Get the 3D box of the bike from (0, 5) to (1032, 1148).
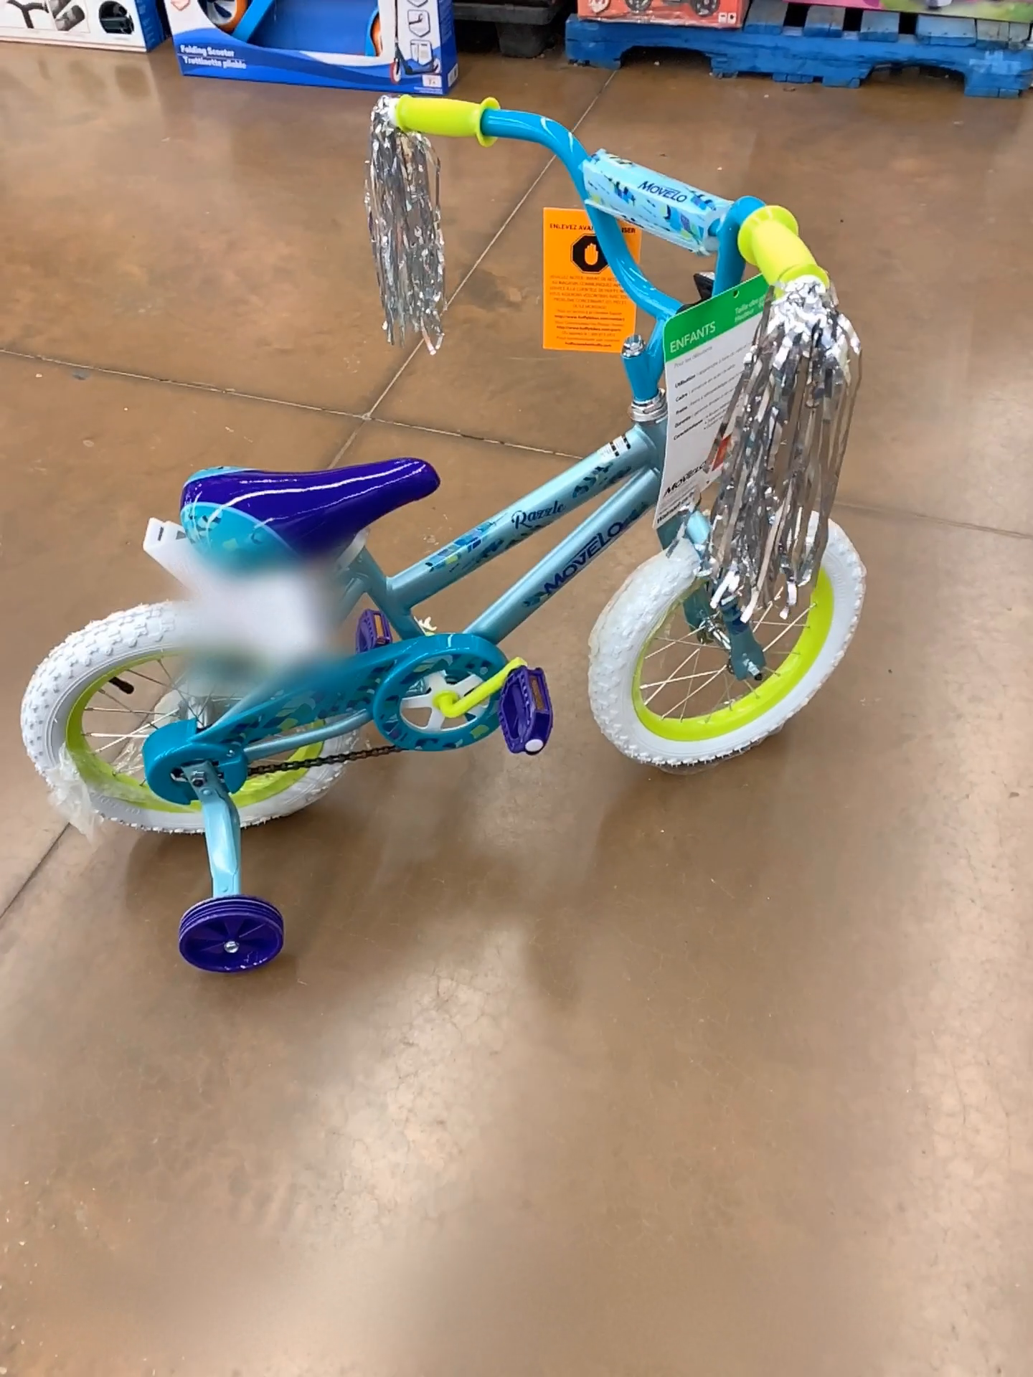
[{"bbox_3d":[-0.041,-0.127,0.957,0.859,0.639,0.625,-14,49,-11],"label":"bike"}]
